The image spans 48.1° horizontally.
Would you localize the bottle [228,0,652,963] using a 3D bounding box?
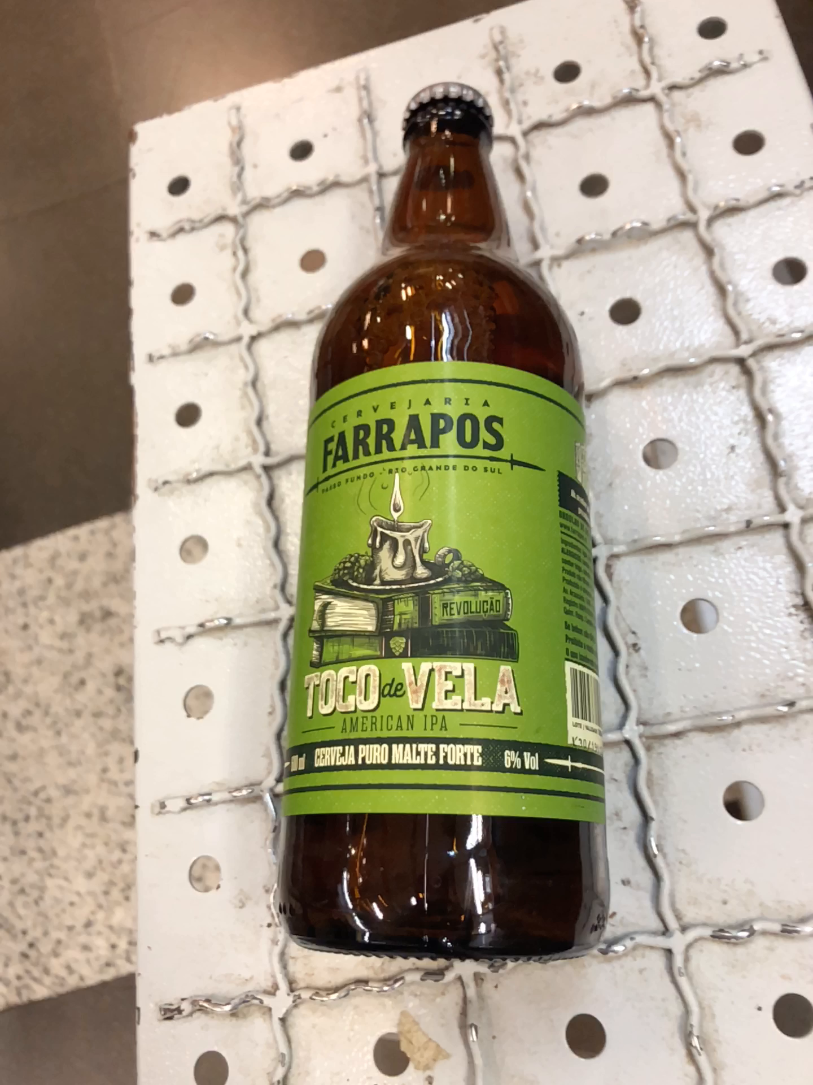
[{"bbox_3d":[0.013,-0.036,0.245,0.080,0.070,0.261,-2,71,10],"label":"bottle"}]
